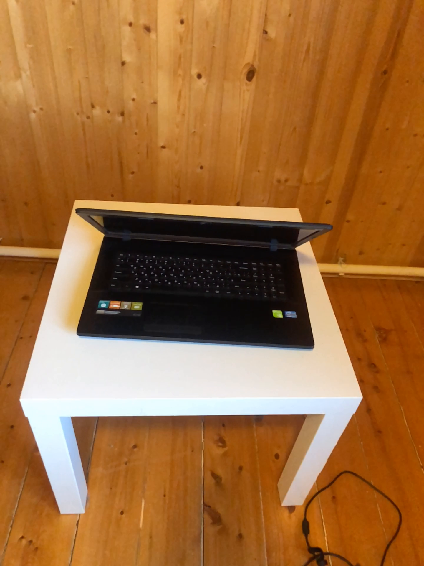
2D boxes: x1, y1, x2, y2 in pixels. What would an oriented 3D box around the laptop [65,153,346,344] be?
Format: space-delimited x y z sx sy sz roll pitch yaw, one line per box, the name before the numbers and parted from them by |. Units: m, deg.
laptop | -0.010 -0.062 0.813 0.401 0.183 0.253 4 43 -5
